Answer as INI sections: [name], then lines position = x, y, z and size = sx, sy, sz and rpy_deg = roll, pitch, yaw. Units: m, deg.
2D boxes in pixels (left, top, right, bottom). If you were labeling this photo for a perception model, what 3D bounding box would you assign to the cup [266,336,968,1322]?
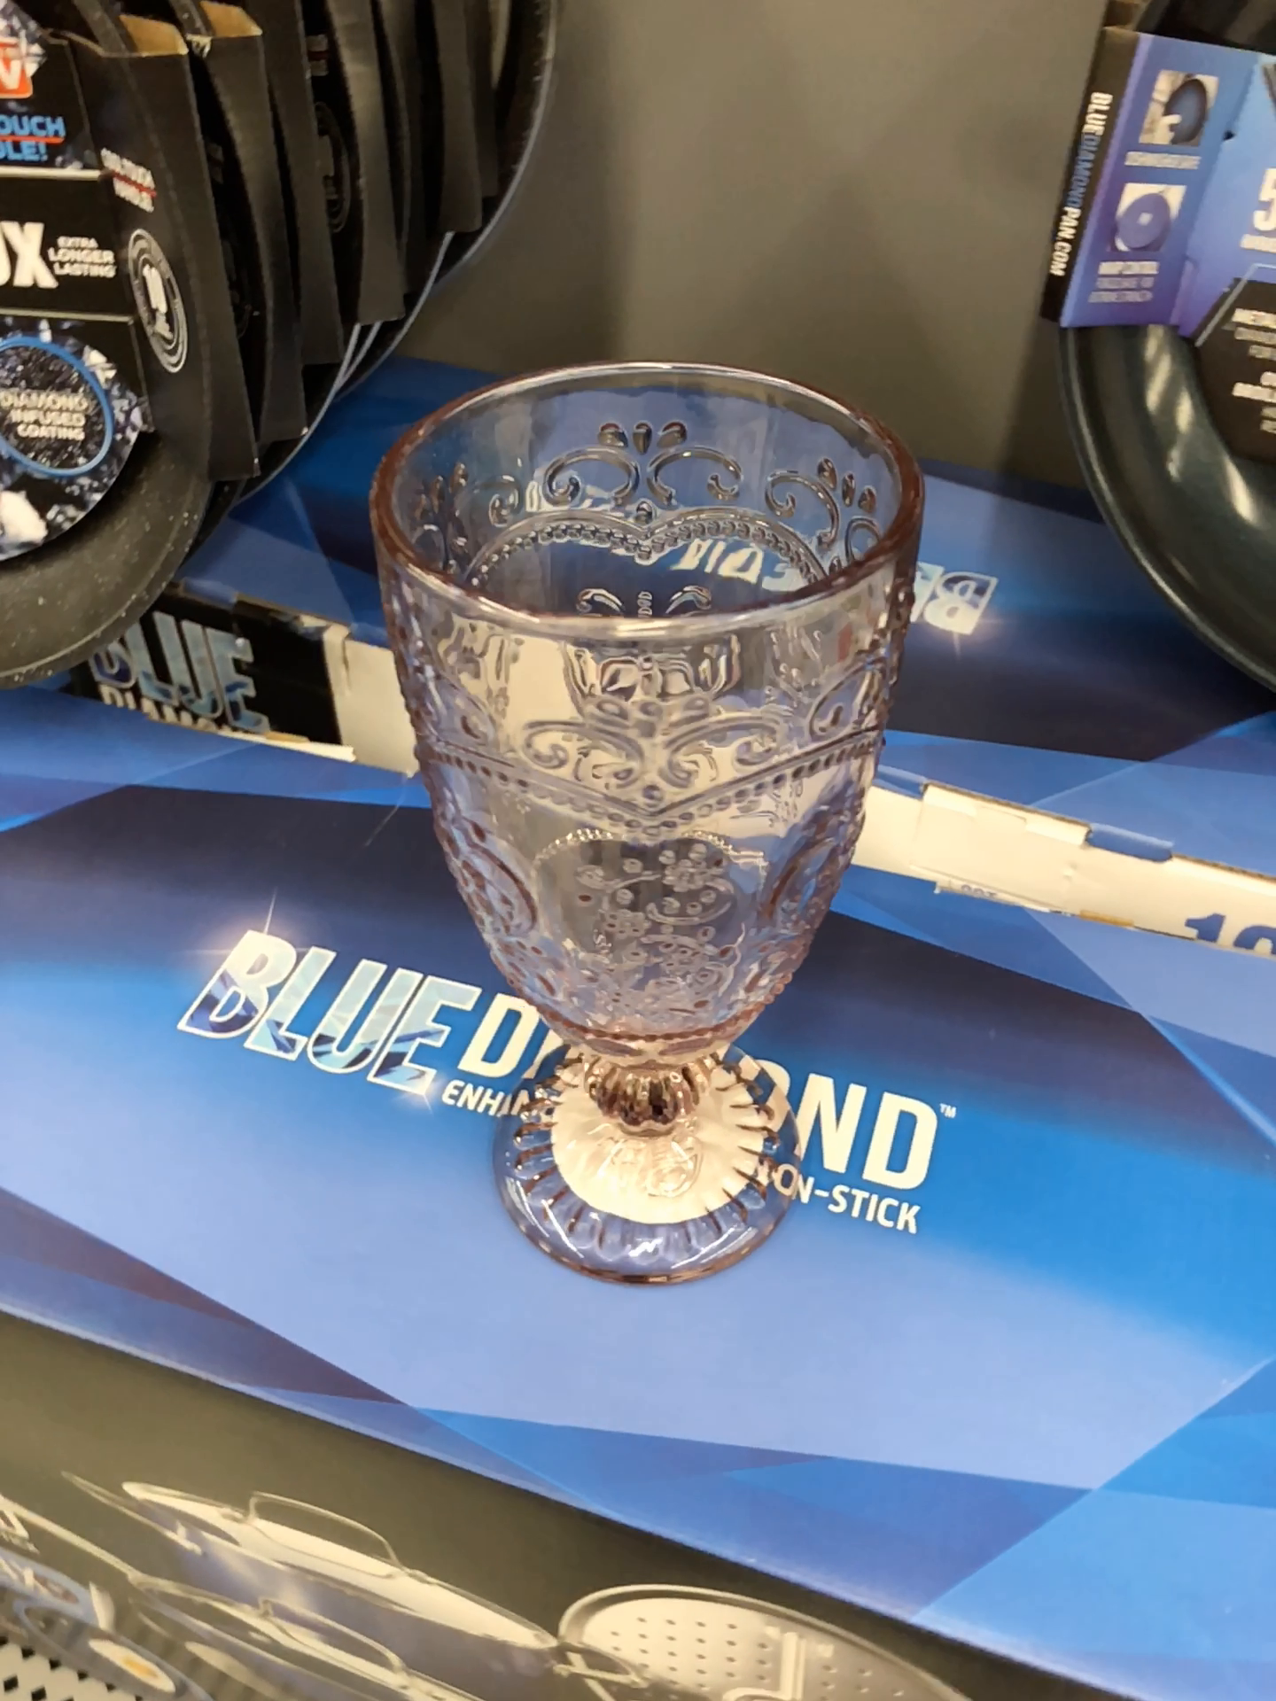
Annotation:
[cup]
position = -0.001, 0.004, 0.268
size = 0.089, 0.168, 0.086
rpy_deg = -1, 42, 1
